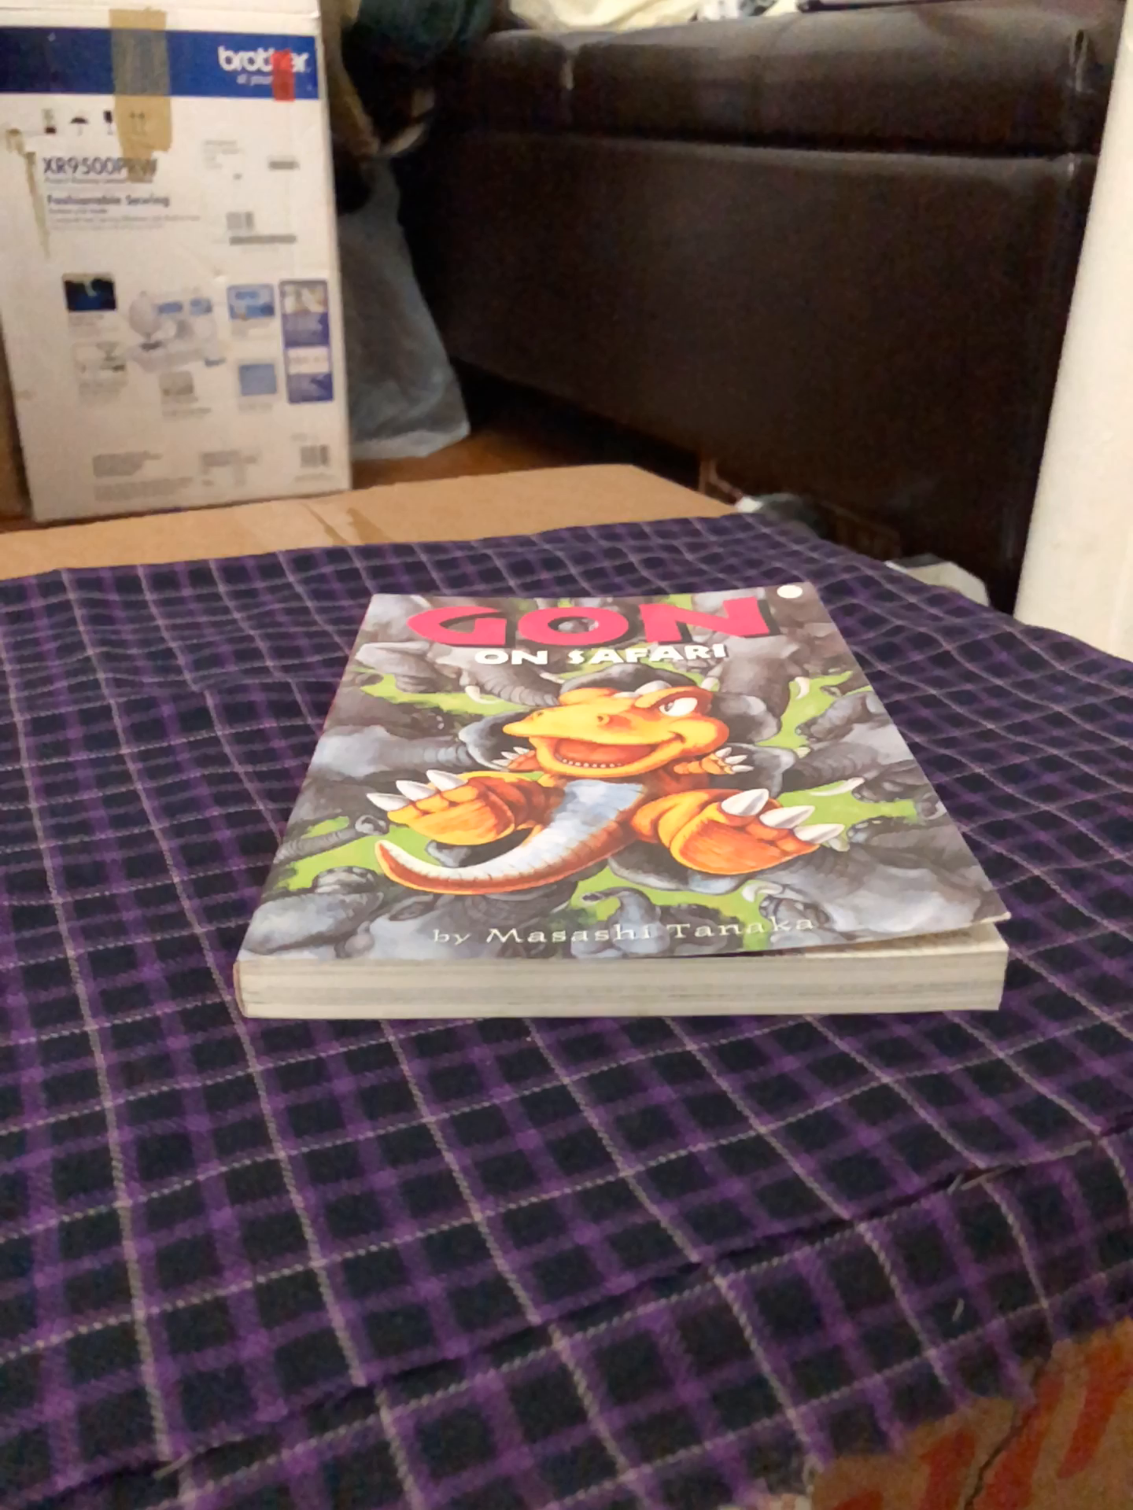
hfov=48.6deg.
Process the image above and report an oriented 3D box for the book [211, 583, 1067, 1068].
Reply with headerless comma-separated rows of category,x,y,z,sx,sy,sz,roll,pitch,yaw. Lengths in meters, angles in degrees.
book,0.012,0.001,0.319,0.150,0.020,0.211,0,26,-1
